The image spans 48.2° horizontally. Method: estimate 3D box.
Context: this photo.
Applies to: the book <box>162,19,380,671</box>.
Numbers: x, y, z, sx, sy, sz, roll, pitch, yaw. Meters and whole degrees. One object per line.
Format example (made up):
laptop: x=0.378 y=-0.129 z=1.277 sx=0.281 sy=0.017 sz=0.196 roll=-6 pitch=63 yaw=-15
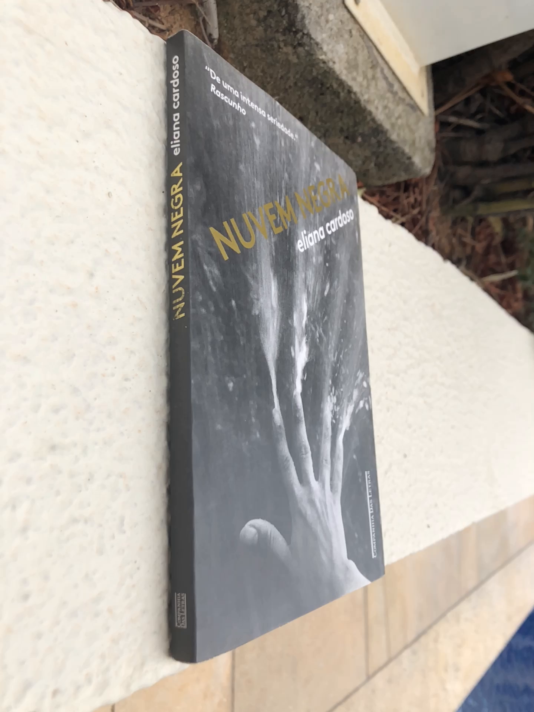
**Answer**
book: x=0.010 y=-0.003 z=0.243 sx=0.141 sy=0.013 sz=0.200 roll=14 pitch=72 yaw=-58
